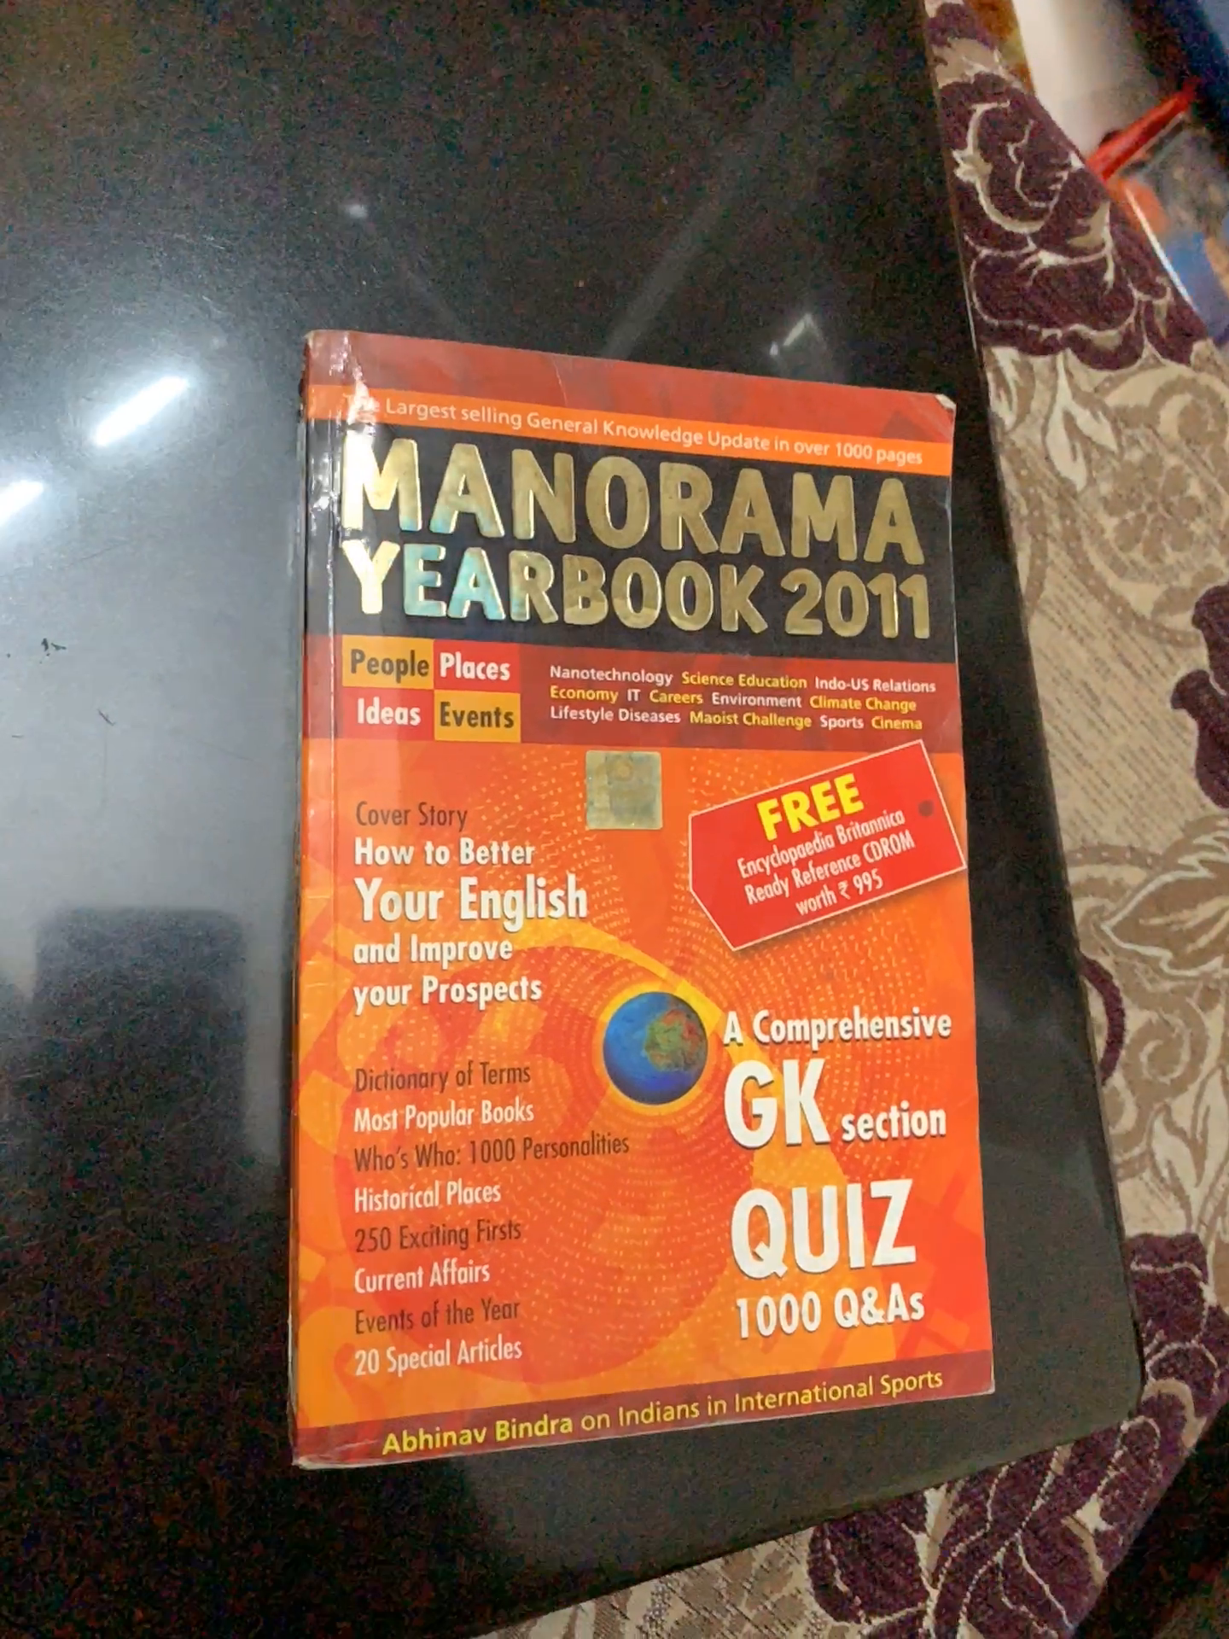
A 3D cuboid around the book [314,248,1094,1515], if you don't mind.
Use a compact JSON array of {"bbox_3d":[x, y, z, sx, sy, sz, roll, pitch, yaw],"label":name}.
[{"bbox_3d":[0.015,0.008,0.257,0.140,0.050,0.210,1,83,-18],"label":"book"}]
